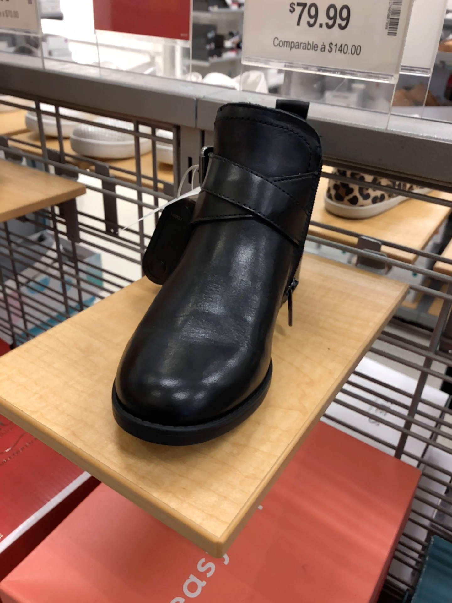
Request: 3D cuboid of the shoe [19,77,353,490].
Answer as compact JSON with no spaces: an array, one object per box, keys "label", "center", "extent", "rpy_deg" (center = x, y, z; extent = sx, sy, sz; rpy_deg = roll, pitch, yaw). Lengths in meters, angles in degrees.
[{"label":"shoe","center":[0.003,-0.037,0.288],"extent":[0.090,0.133,0.222],"rpy_deg":[12,33,14]}]
